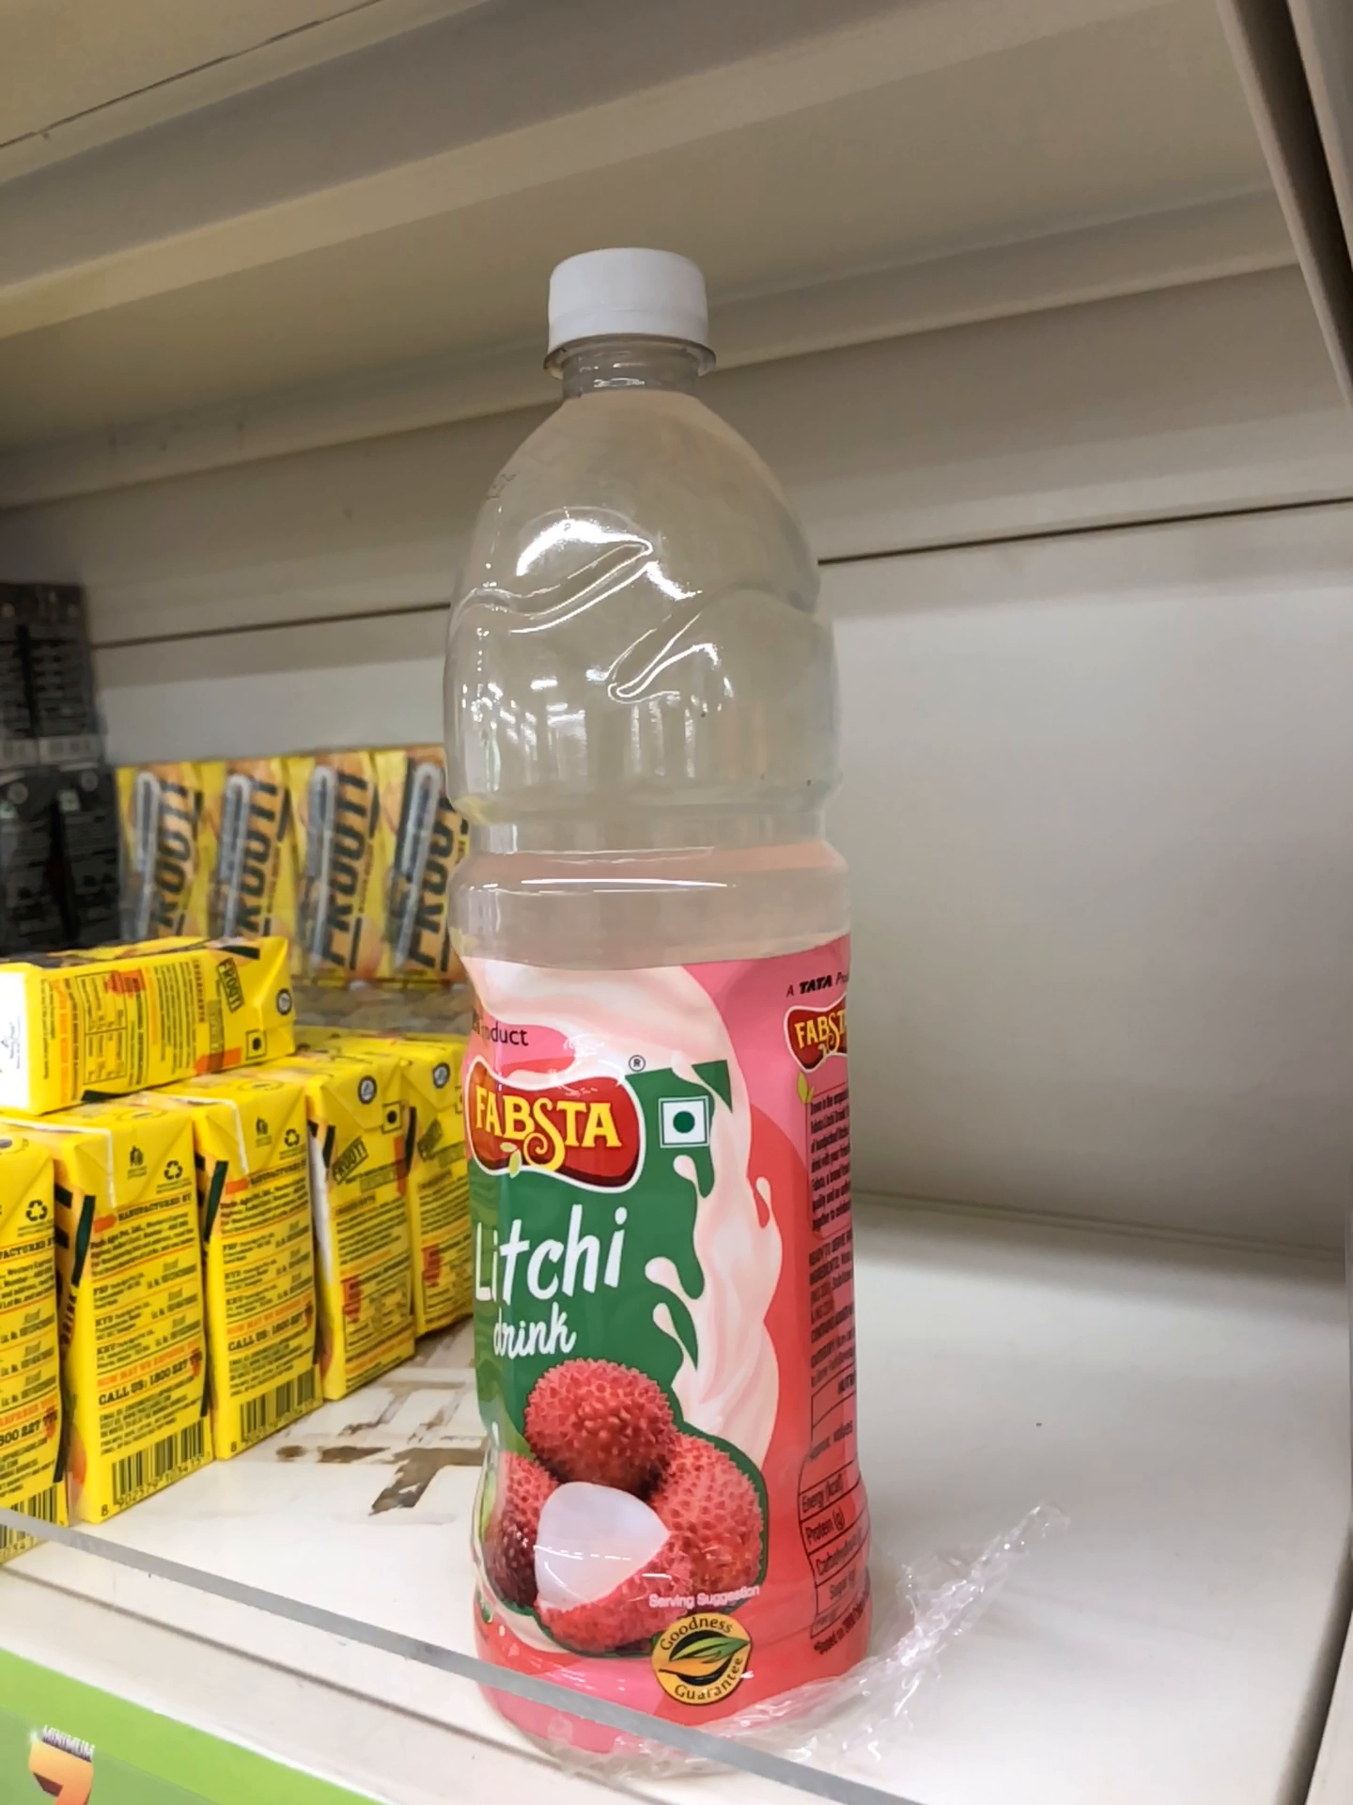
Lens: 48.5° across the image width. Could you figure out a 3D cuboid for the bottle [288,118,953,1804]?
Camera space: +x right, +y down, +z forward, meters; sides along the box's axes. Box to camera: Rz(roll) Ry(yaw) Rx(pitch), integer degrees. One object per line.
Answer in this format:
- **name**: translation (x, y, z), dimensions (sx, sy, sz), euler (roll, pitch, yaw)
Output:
- **bottle**: translation (-0.008, 0.016, 0.282), dimensions (0.080, 0.270, 0.070), euler (1, 8, 42)
